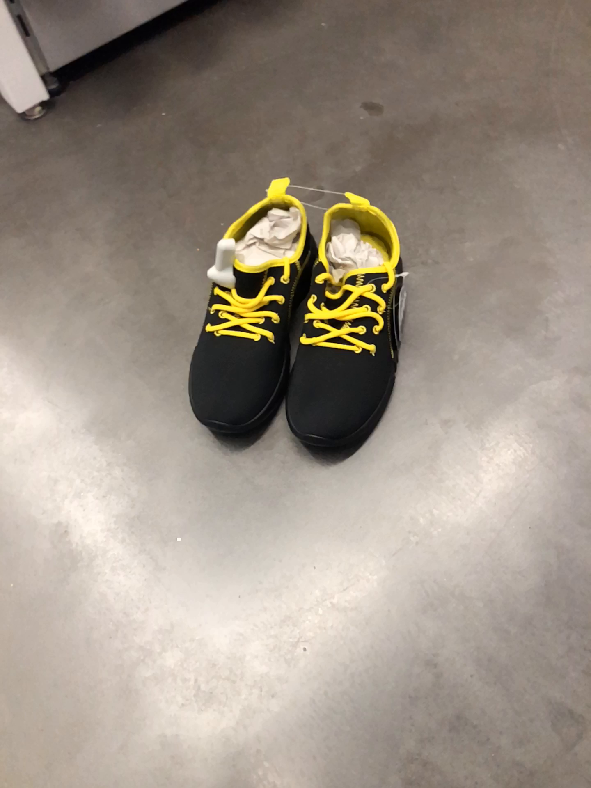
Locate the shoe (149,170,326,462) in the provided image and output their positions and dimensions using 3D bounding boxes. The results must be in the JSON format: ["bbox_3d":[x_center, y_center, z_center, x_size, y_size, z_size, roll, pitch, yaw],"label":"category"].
[{"bbox_3d":[-0.039,-0.072,0.575,0.090,0.100,0.231,9,64,8],"label":"shoe"}]

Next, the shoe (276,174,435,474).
[{"bbox_3d":[0.056,-0.063,0.562,0.090,0.100,0.231,9,64,8],"label":"shoe"}]
